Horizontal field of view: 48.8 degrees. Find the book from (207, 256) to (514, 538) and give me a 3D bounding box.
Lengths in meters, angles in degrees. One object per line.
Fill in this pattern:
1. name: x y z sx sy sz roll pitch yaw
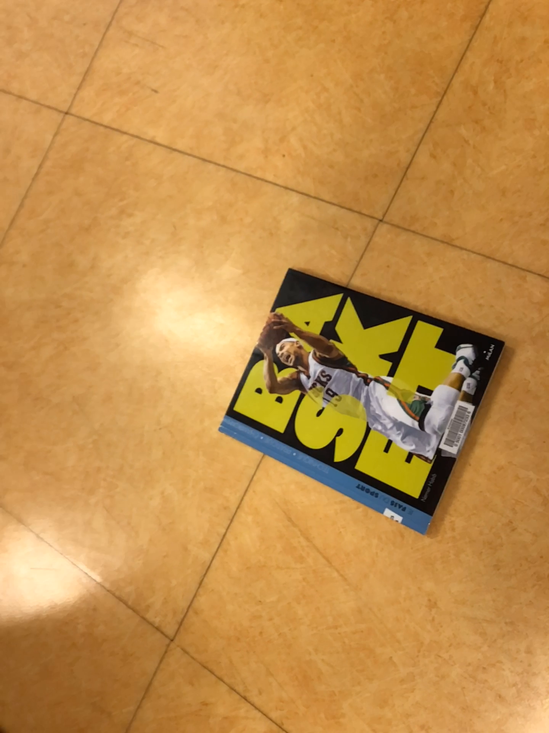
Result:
1. book: 0.075 0.019 0.596 0.244 0.020 0.200 22 88 25
